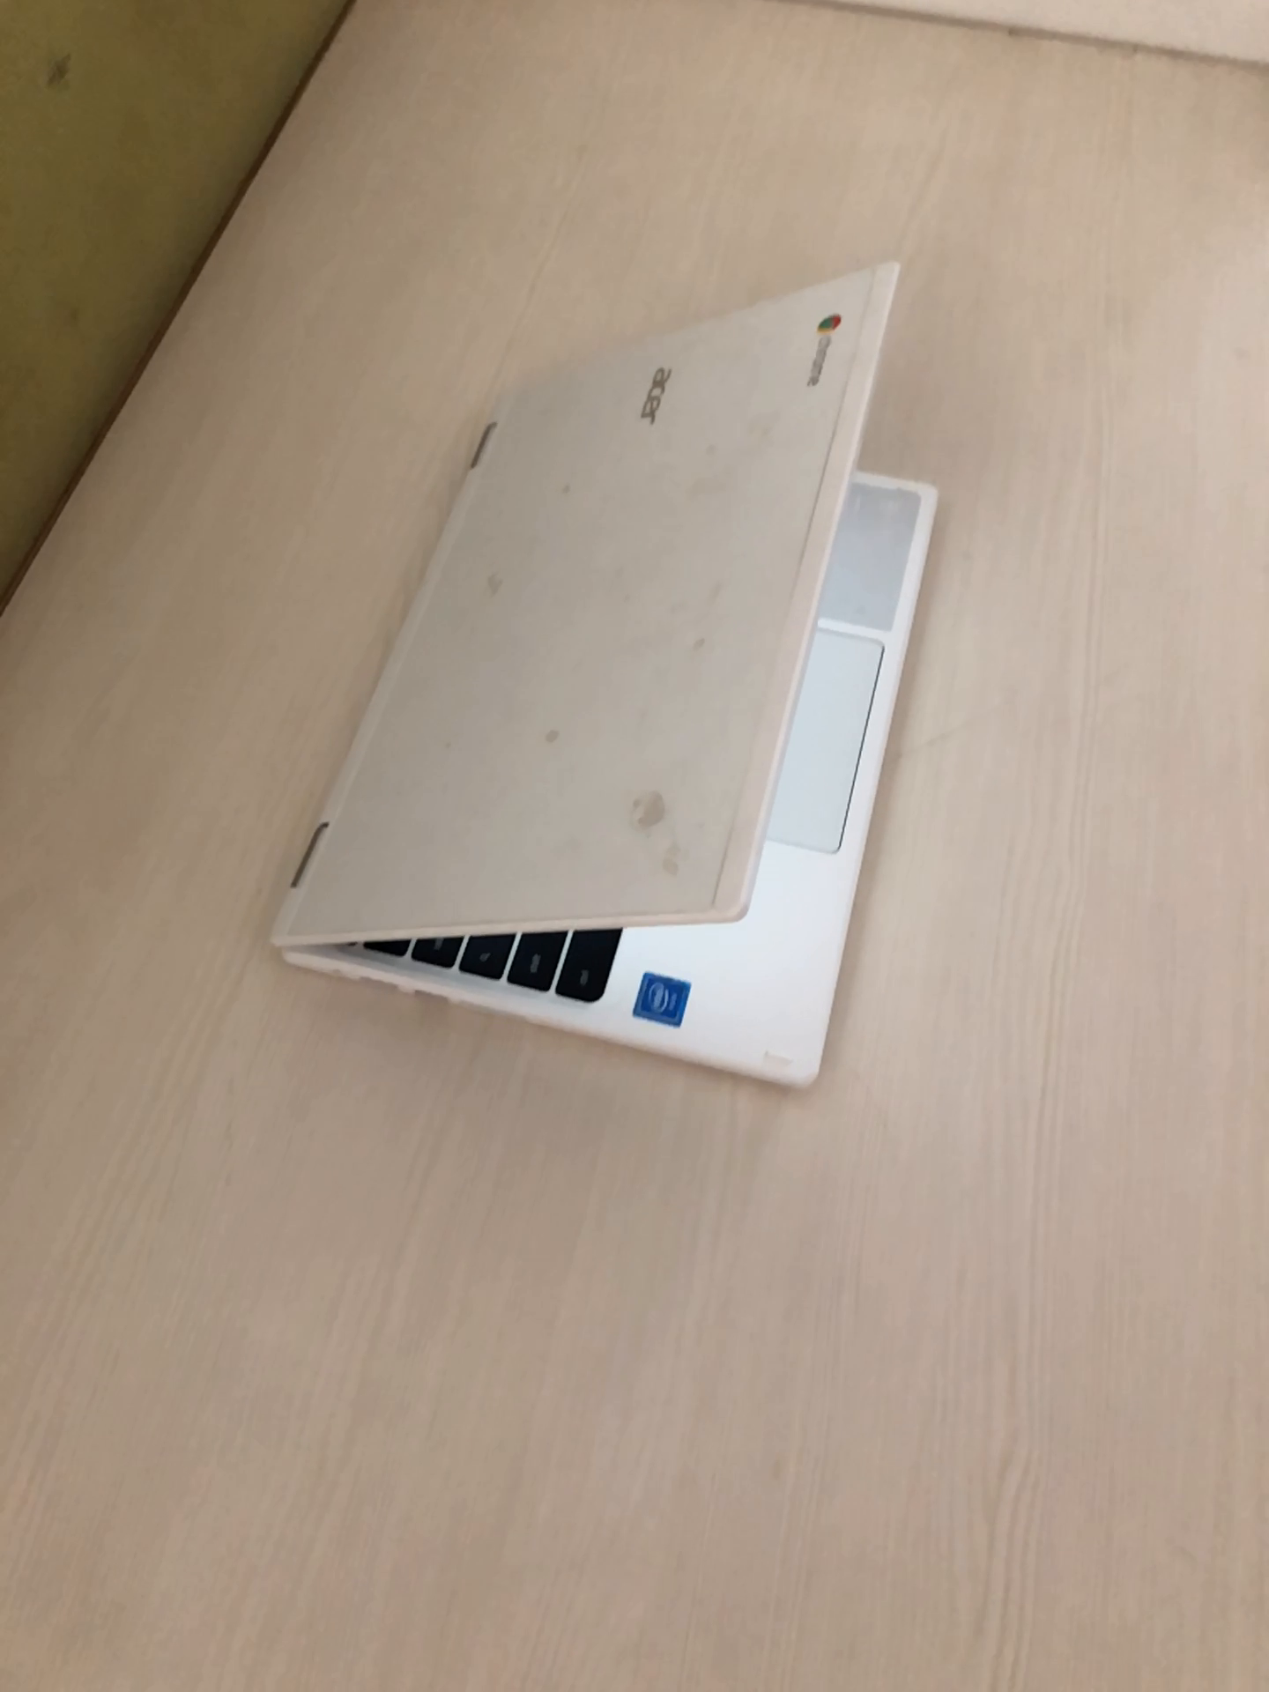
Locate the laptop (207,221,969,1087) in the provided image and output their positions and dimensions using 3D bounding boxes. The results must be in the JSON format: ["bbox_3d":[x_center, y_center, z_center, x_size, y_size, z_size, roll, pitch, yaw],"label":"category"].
[{"bbox_3d":[0.002,-0.084,0.530,0.196,0.105,0.291,12,60,6],"label":"laptop"}]
